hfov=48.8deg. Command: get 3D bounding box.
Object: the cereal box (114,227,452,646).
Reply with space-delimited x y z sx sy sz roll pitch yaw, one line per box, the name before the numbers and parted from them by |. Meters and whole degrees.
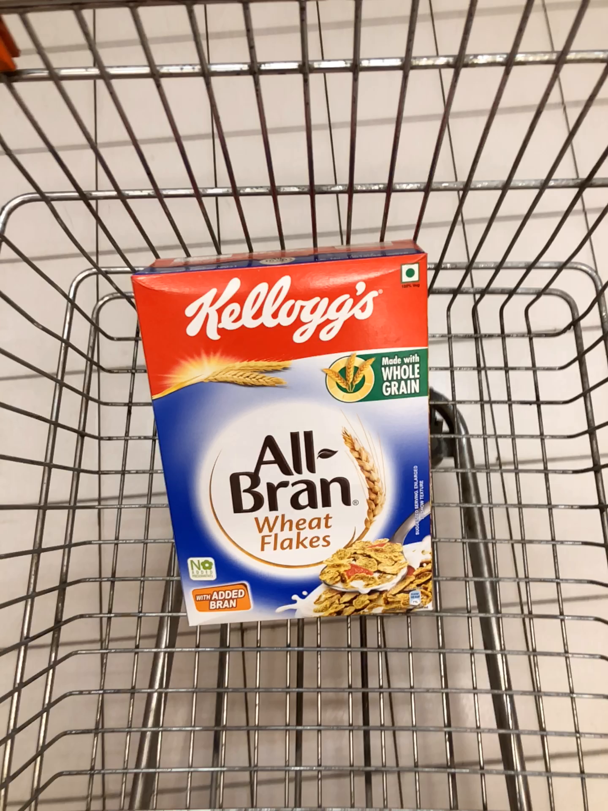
cereal box | -0.004 0.026 0.465 0.190 0.080 0.270 -4 113 1
